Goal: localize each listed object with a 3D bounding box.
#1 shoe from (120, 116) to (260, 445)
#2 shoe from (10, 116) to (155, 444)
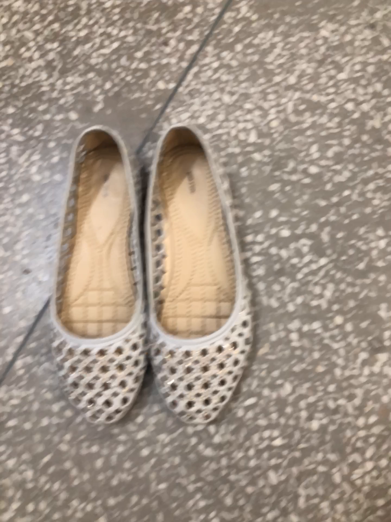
[{"bbox_3d":[-0.006,0.013,0.358,0.093,0.070,0.240,-3,80,1],"label":"shoe"},{"bbox_3d":[-0.087,0.013,0.359,0.093,0.070,0.240,-3,80,1],"label":"shoe"}]
